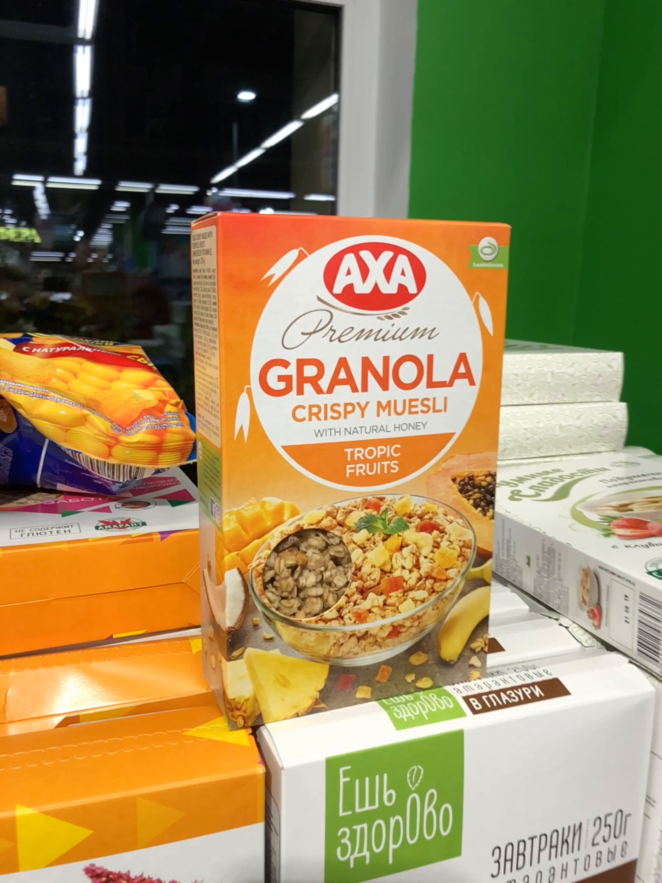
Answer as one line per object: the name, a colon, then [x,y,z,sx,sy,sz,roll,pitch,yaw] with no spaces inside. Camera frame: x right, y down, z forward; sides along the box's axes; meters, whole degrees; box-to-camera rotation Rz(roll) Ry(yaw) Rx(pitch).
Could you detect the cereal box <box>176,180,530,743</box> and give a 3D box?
cereal box: [0.008,0.007,0.327,0.140,0.219,0.050,-4,12,-23]
